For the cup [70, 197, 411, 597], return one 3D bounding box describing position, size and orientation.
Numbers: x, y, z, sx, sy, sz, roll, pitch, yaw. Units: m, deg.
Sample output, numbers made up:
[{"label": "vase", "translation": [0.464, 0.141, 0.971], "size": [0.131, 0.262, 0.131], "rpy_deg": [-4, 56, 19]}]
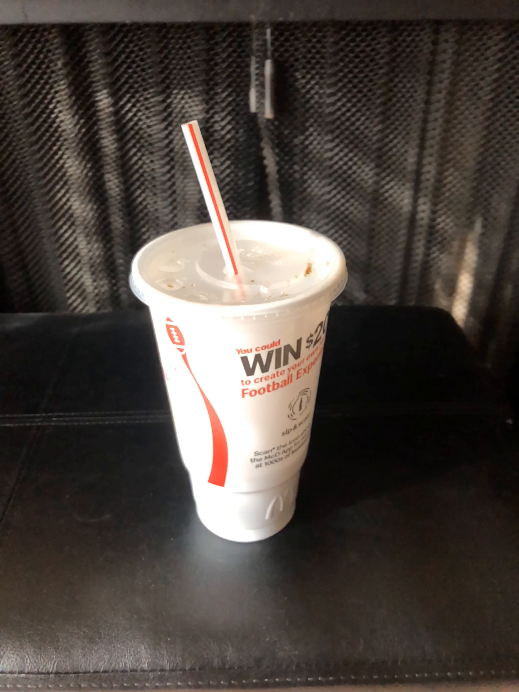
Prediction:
[{"label": "cup", "translation": [-0.010, 0.019, 0.318], "size": [0.120, 0.150, 0.110], "rpy_deg": [-1, 34, 0]}]
